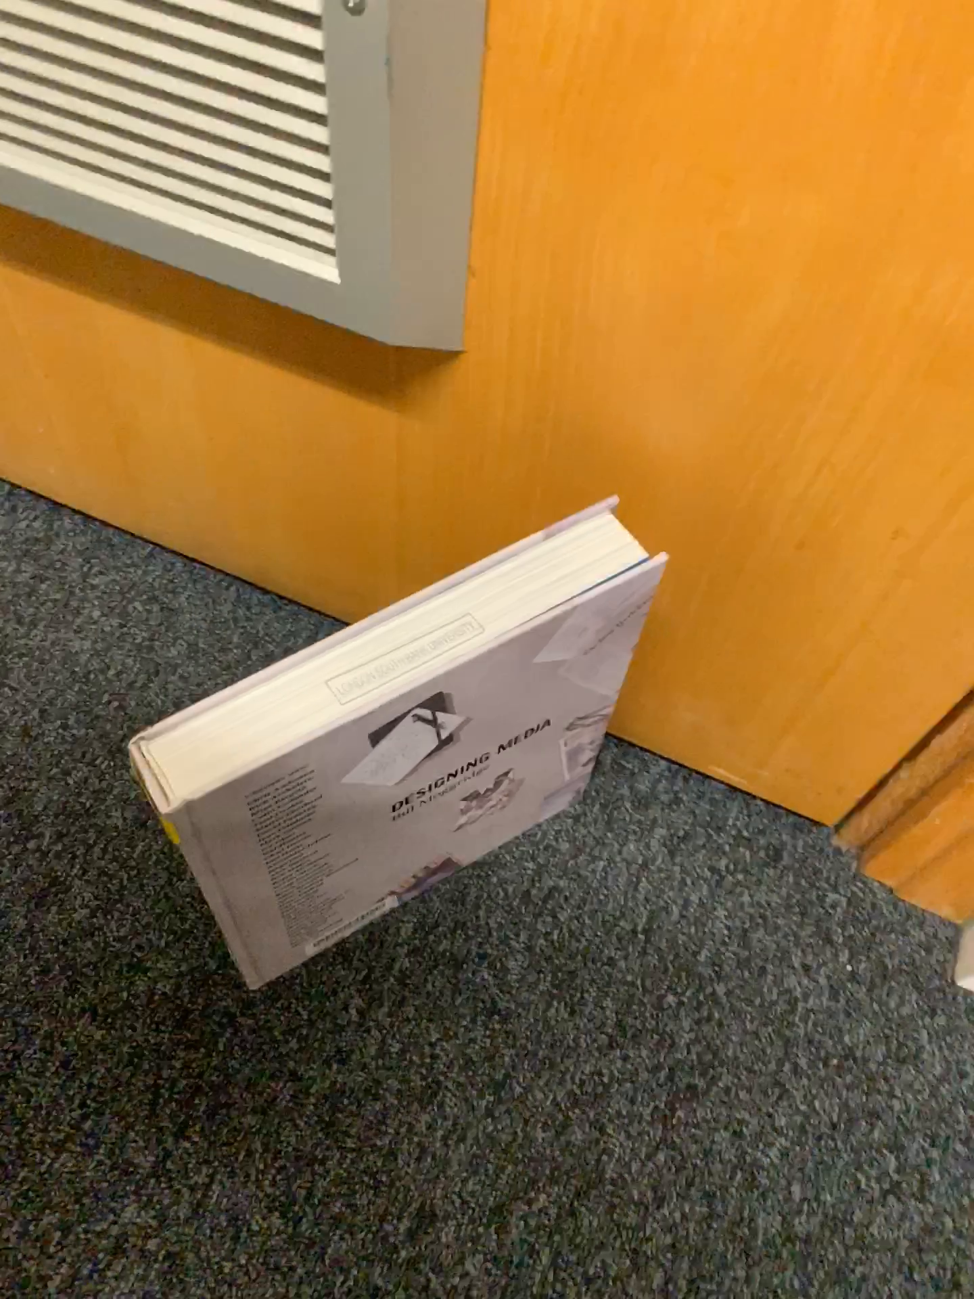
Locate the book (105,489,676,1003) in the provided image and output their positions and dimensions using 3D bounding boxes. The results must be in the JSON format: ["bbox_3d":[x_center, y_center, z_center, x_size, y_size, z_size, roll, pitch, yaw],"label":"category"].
[{"bbox_3d":[-0.035,0.057,0.452,0.211,0.231,0.040,-28,65,-20],"label":"book"}]
